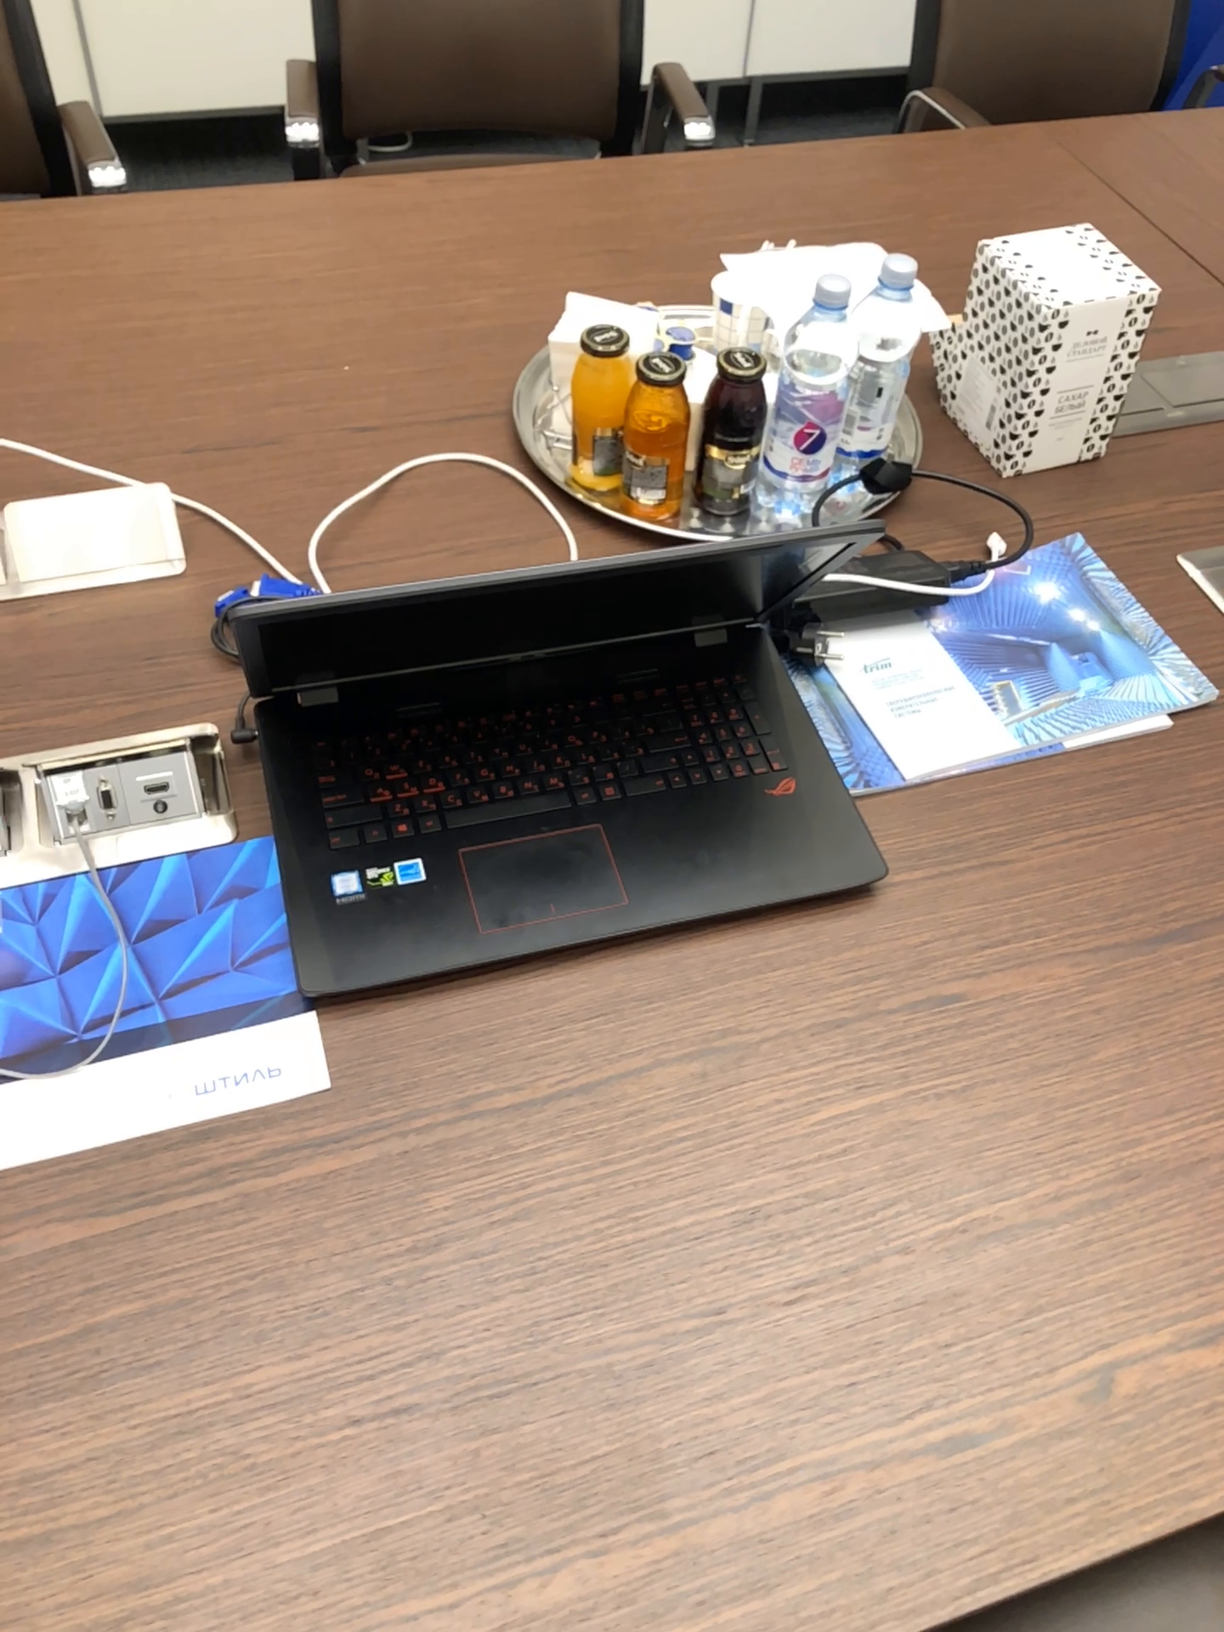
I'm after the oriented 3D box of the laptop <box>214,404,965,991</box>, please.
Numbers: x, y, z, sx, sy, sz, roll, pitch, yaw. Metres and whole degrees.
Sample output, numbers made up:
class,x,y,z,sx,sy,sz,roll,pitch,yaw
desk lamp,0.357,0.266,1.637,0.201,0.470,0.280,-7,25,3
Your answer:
class,x,y,z,sx,sy,sz,roll,pitch,yaw
laptop,-0.026,-0.082,0.835,0.377,0.189,0.238,-10,53,-13
